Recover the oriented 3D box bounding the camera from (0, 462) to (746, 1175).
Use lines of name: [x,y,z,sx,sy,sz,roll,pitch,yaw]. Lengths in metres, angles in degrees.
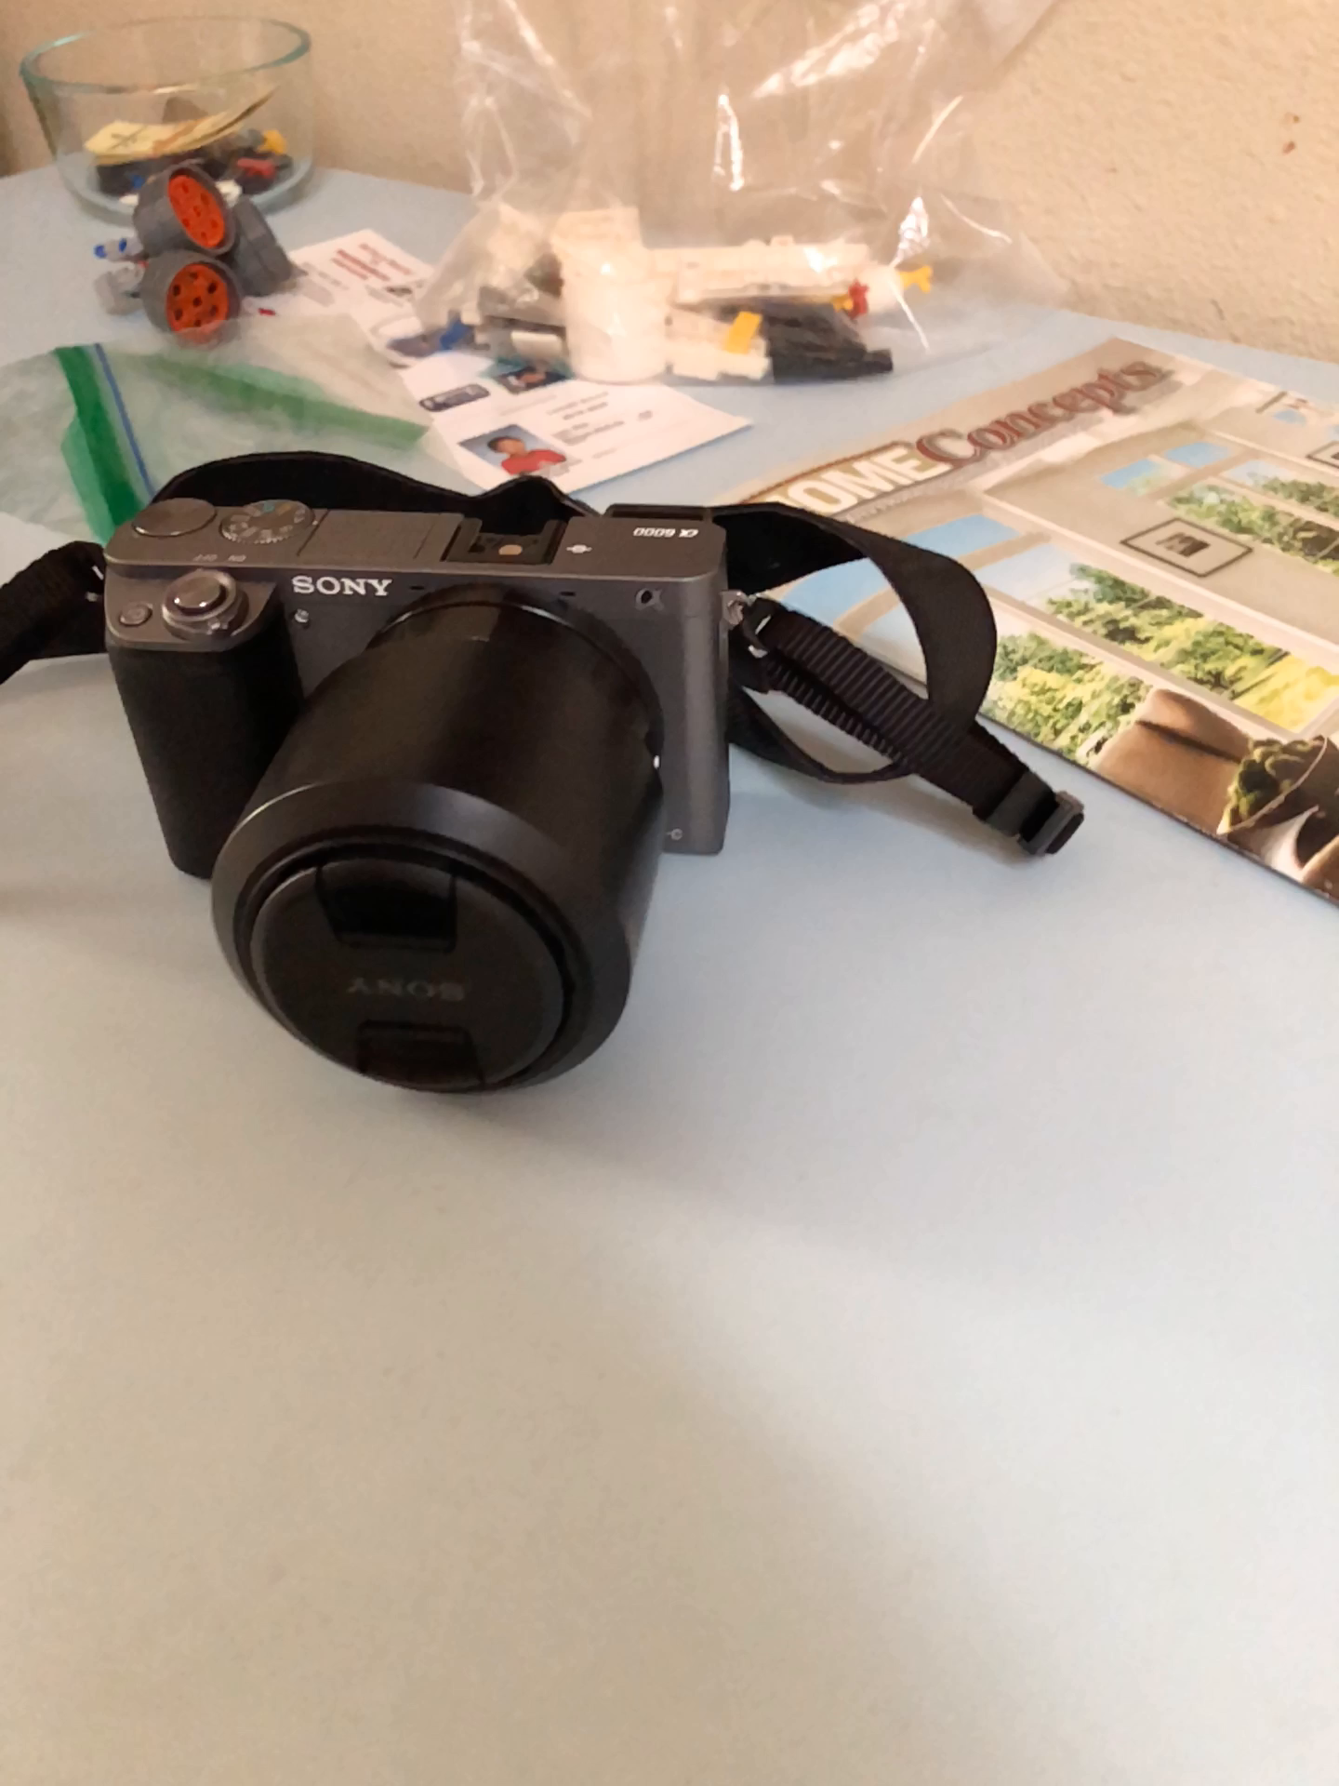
camera: [-0.057,-0.020,0.273,0.130,0.070,0.111,4,41,8]
